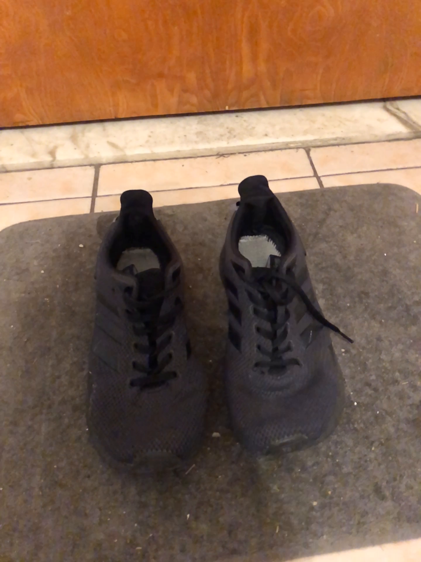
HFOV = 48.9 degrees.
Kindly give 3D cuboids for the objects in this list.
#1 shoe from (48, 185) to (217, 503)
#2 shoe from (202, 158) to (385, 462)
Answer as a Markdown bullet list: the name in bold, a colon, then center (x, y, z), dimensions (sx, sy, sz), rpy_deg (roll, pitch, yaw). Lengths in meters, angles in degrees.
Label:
- **shoe**: center (-0.074, 0.043, 0.434), dimensions (0.110, 0.119, 0.262), rpy_deg (-6, 49, -8)
- **shoe**: center (0.056, 0.014, 0.438), dimensions (0.110, 0.119, 0.262), rpy_deg (-4, 49, 0)
